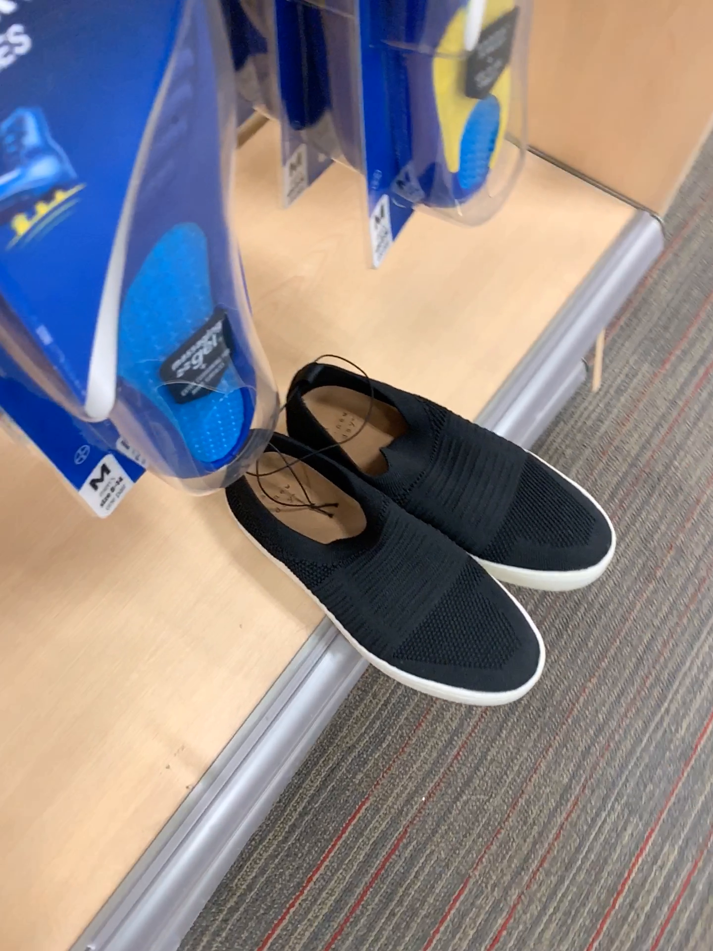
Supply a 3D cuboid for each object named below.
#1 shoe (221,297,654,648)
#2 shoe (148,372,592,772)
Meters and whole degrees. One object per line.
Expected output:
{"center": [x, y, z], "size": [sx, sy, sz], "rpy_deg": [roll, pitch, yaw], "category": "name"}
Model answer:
{"center": [0.049, -0.002, 0.525], "size": [0.270, 0.100, 0.100], "rpy_deg": [31, 70, 12], "category": "shoe"}
{"center": [0.002, 0.064, 0.494], "size": [0.270, 0.100, 0.100], "rpy_deg": [37, 71, 15], "category": "shoe"}
